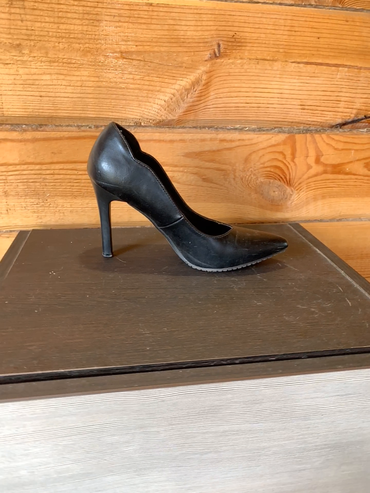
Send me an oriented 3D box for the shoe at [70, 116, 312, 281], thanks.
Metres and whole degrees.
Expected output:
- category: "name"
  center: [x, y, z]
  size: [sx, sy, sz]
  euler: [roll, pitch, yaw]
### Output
- category: "shoe"
  center: [0.004, -0.057, 0.421]
  size: [0.220, 0.149, 0.101]
  euler: [3, 22, 1]
